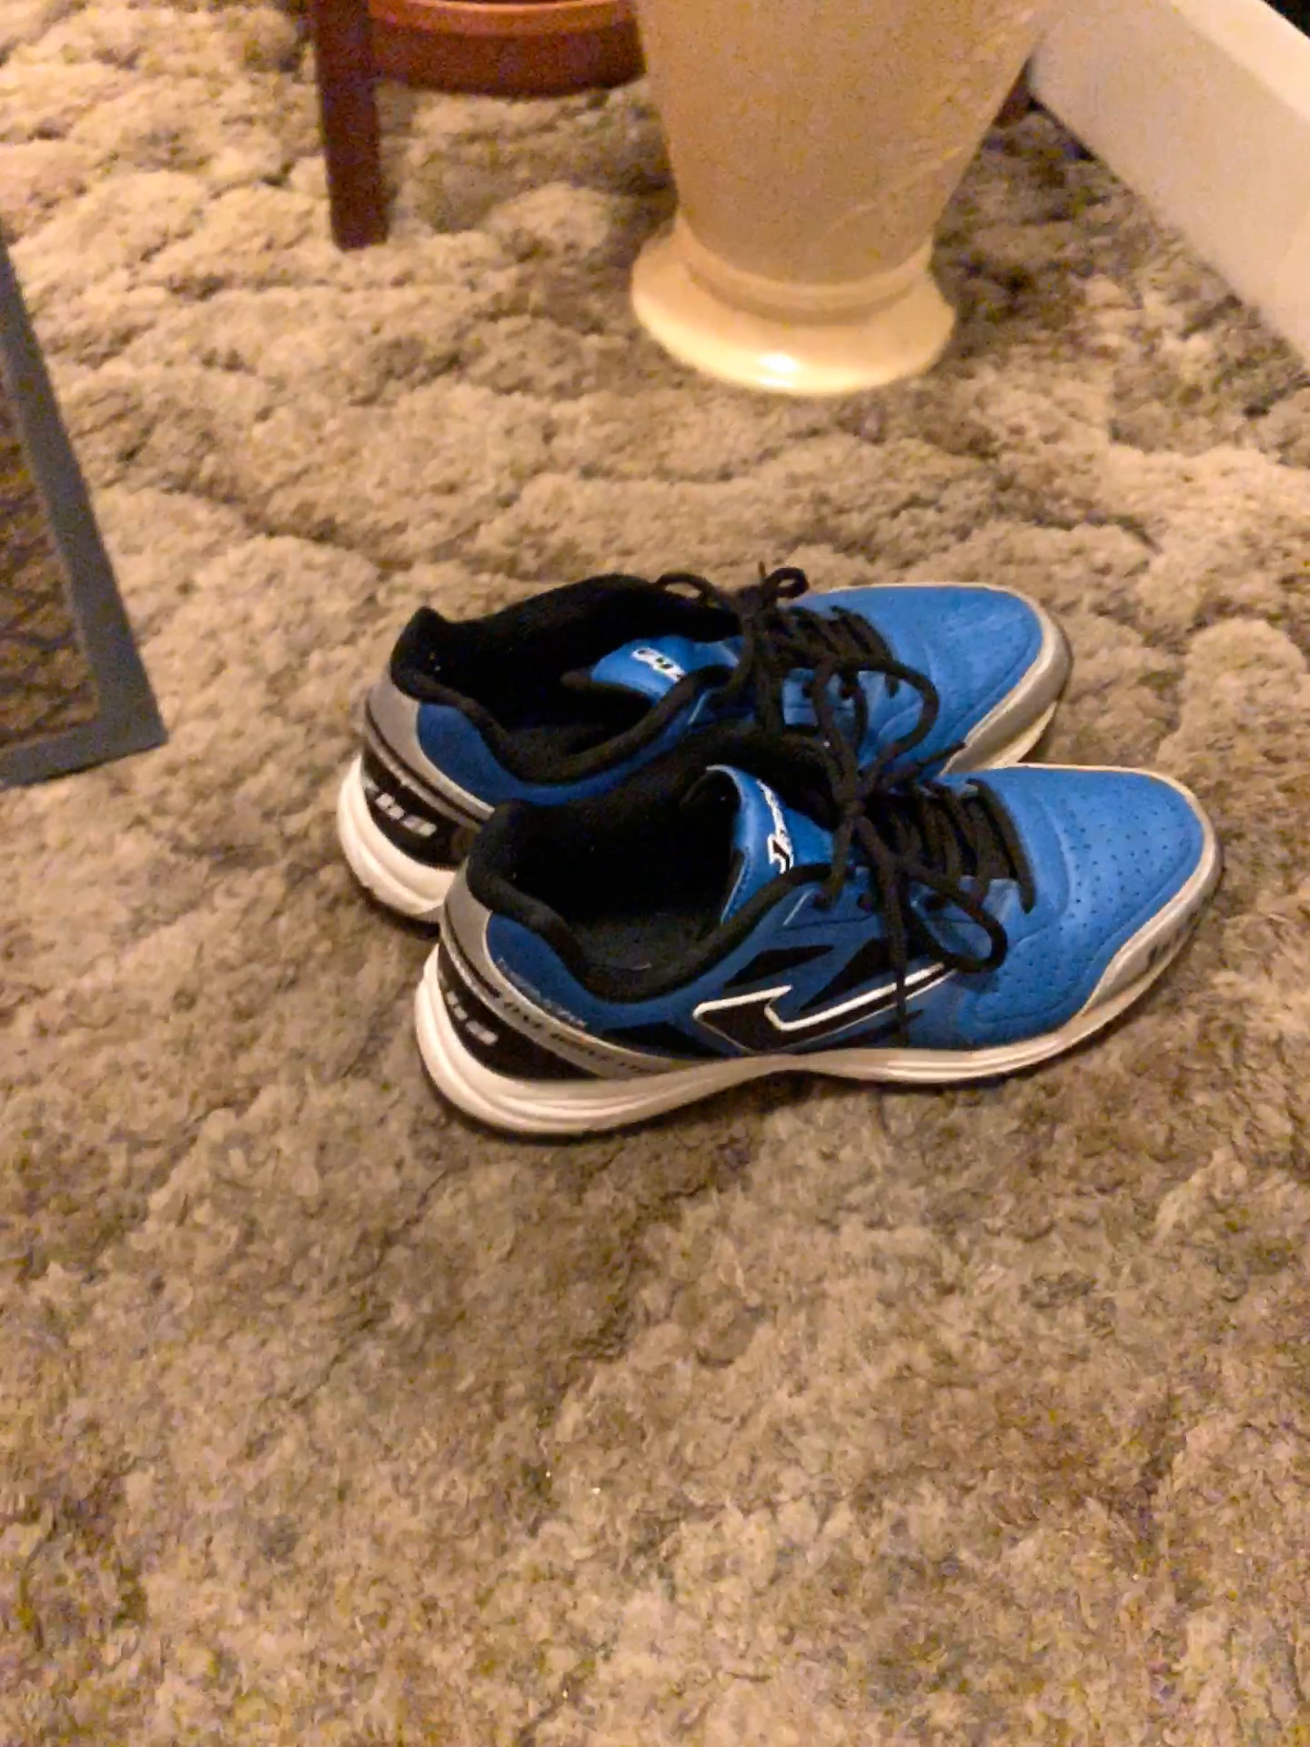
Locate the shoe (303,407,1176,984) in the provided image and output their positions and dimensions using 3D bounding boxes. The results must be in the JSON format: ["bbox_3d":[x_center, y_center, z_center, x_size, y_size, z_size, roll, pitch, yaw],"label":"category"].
[{"bbox_3d":[0.026,-0.066,0.494,0.270,0.119,0.101,-15,58,-12],"label":"shoe"}]

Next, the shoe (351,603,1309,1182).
[{"bbox_3d":[0.052,0.006,0.465,0.280,0.119,0.101,-11,57,-9],"label":"shoe"}]
